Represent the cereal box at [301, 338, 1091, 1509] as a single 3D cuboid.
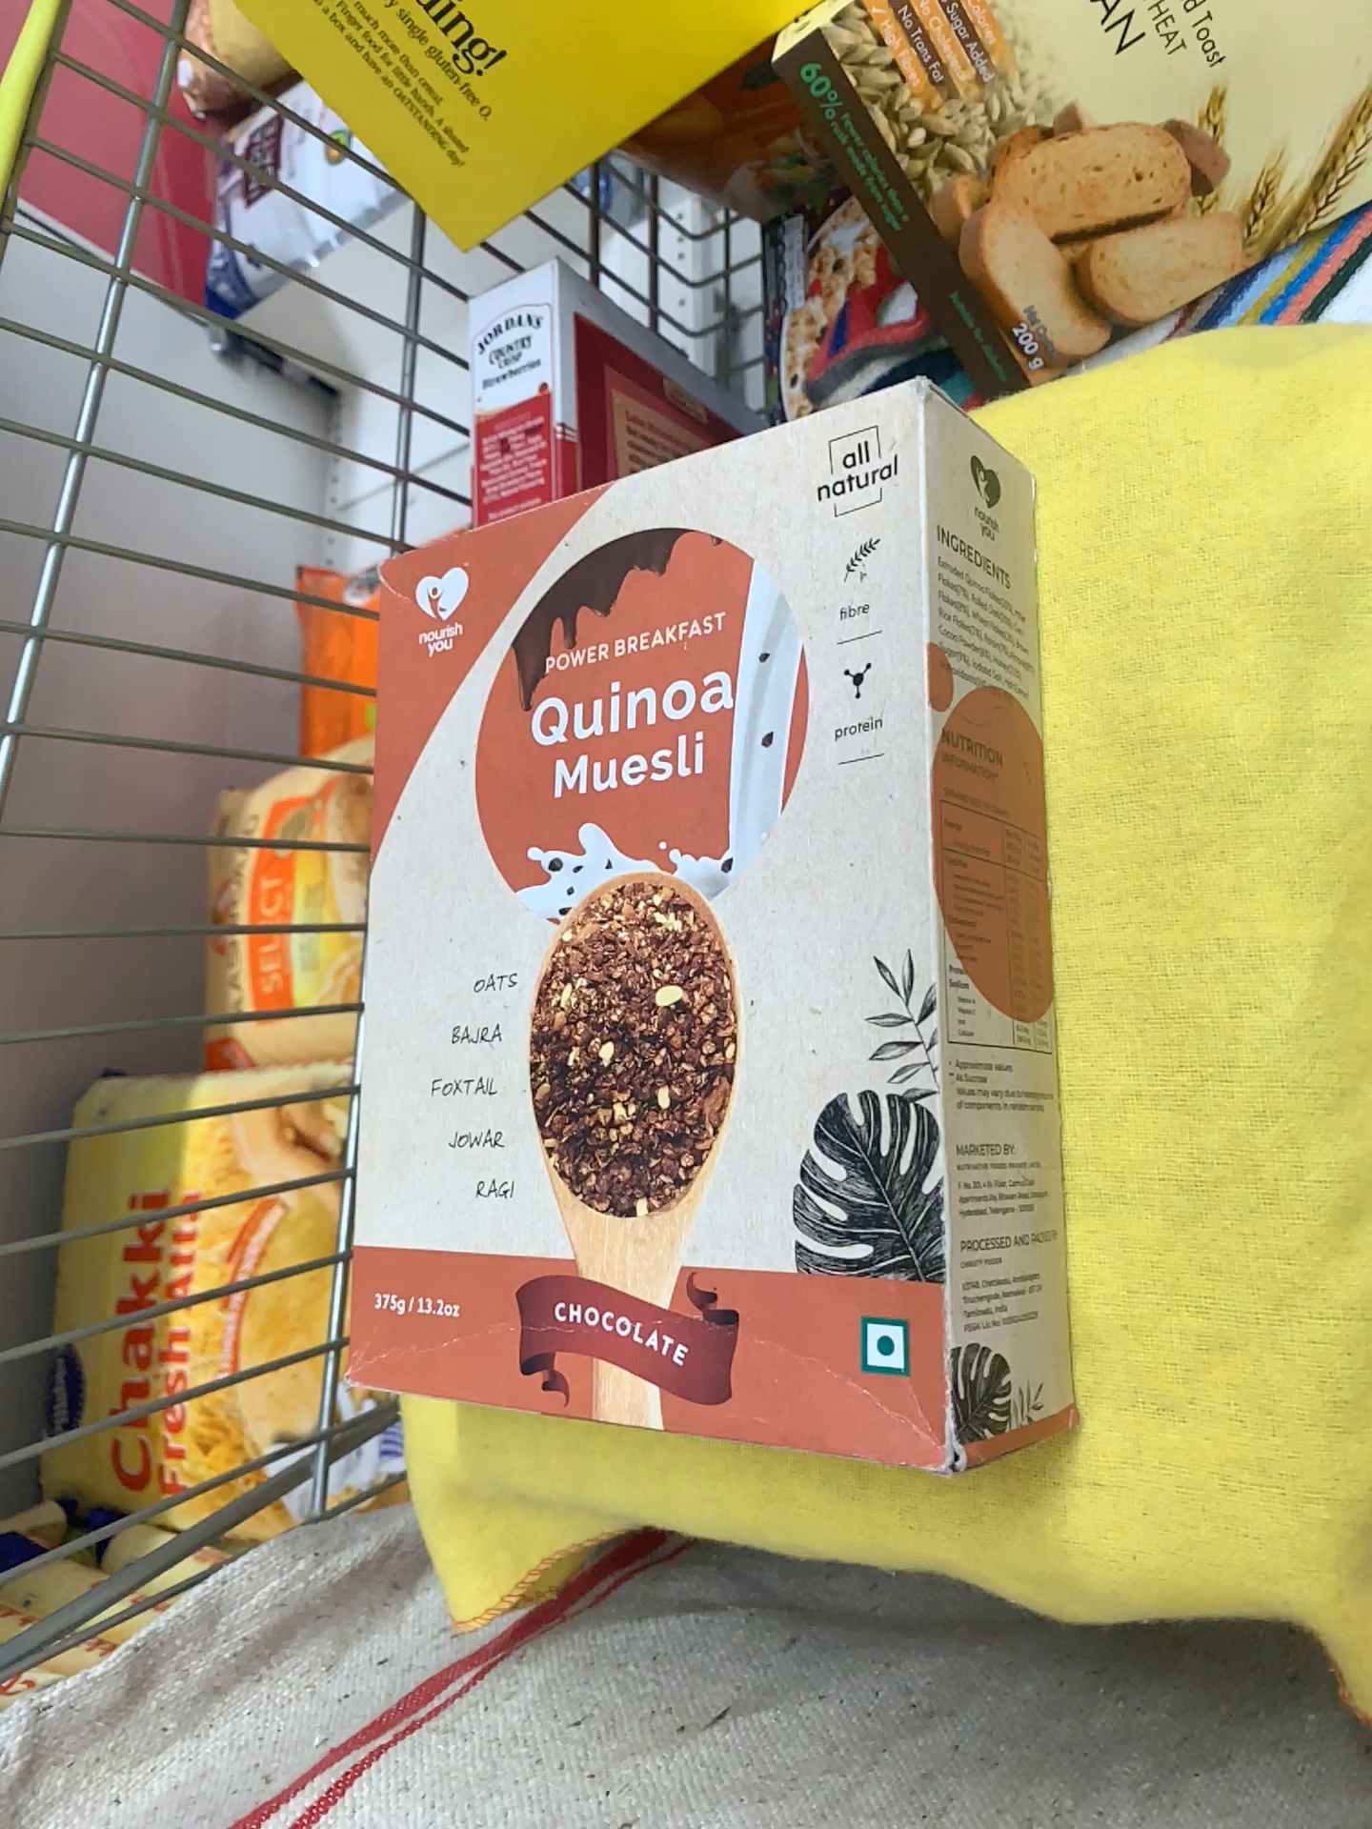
[{"bbox_3d":[-0.005,0.006,0.325,0.171,0.060,0.210,-7,79,36],"label":"cereal box"}]
